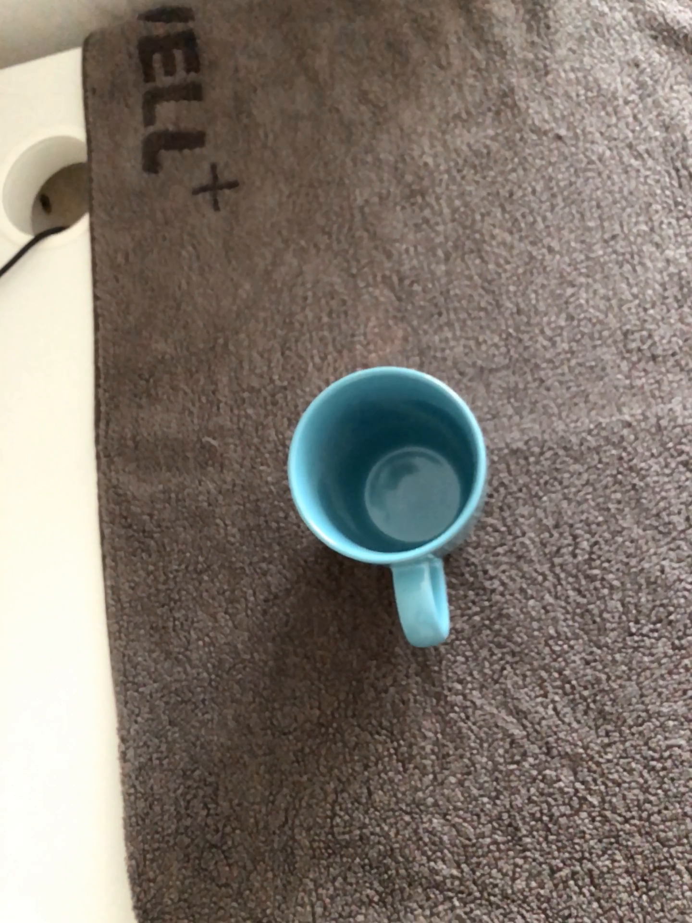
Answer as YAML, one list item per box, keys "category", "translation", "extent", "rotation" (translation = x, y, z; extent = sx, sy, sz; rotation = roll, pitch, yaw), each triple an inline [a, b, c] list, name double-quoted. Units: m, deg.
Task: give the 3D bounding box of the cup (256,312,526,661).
- category: "cup"
  translation: [0.024, 0.017, 0.352]
  extent: [0.087, 0.090, 0.126]
  rotation: [-13, 76, 10]
